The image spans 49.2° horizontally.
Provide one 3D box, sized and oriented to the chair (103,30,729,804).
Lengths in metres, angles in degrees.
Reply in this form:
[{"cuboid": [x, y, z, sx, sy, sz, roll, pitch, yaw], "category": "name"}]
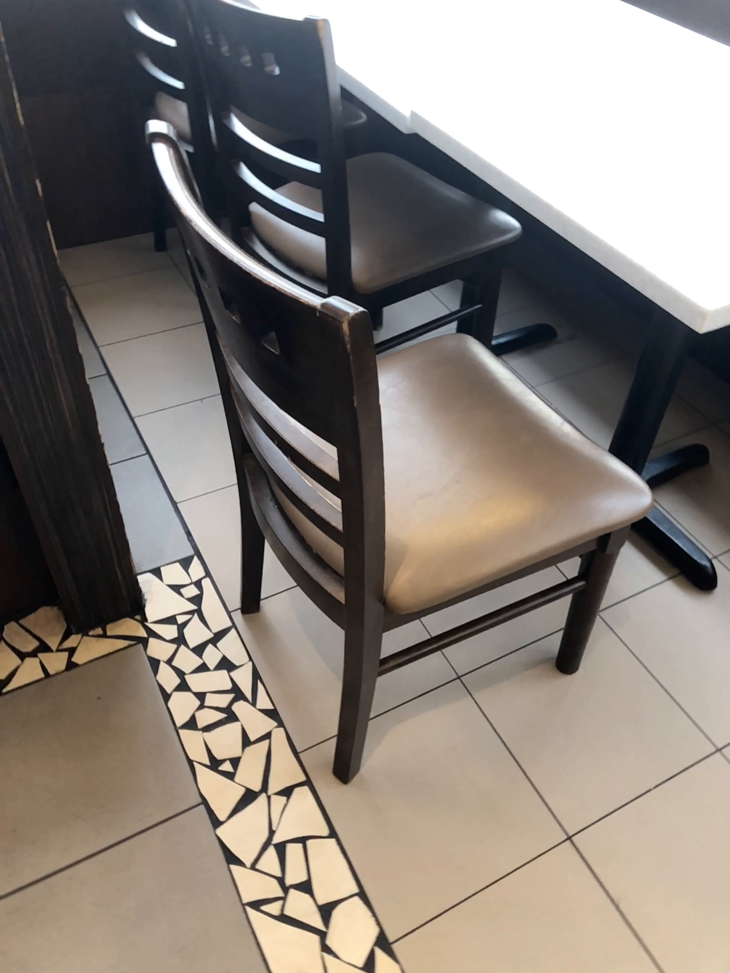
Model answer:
[{"cuboid": [0.086, -0.082, 1.018, 0.571, 0.715, 0.473, -20, 50, -21], "category": "chair"}]
